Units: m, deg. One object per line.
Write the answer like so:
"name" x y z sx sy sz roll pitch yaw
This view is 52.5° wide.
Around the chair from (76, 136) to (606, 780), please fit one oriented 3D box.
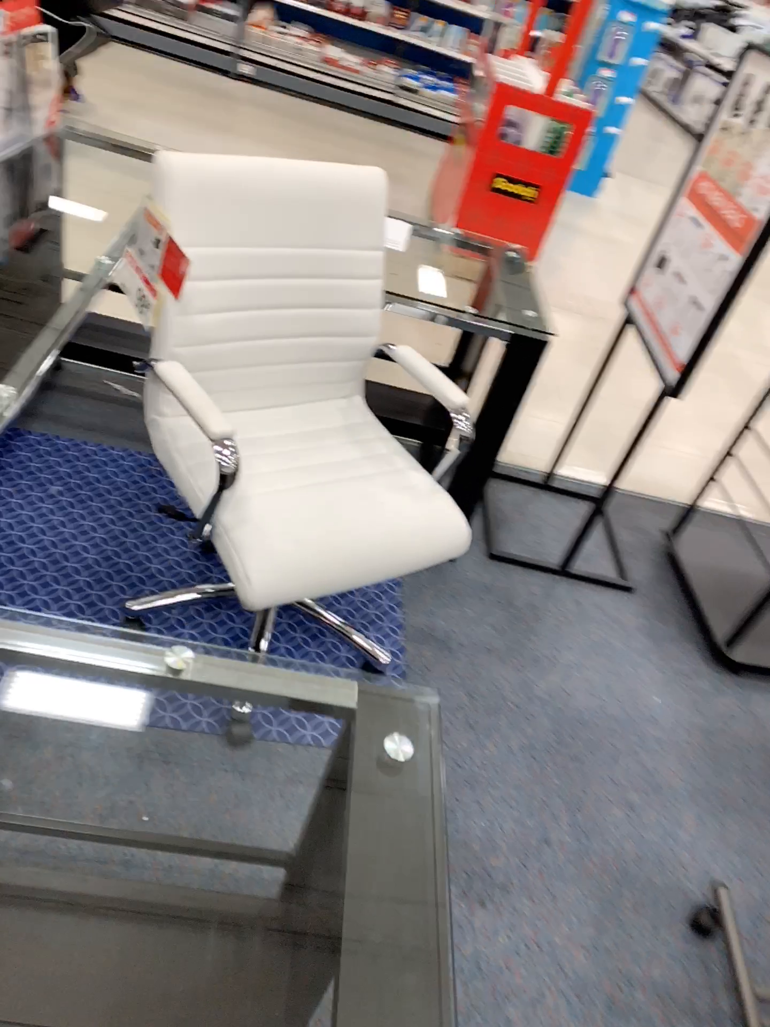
"chair" -0.187 -0.112 1.586 0.616 0.962 0.663 -13 48 -36
